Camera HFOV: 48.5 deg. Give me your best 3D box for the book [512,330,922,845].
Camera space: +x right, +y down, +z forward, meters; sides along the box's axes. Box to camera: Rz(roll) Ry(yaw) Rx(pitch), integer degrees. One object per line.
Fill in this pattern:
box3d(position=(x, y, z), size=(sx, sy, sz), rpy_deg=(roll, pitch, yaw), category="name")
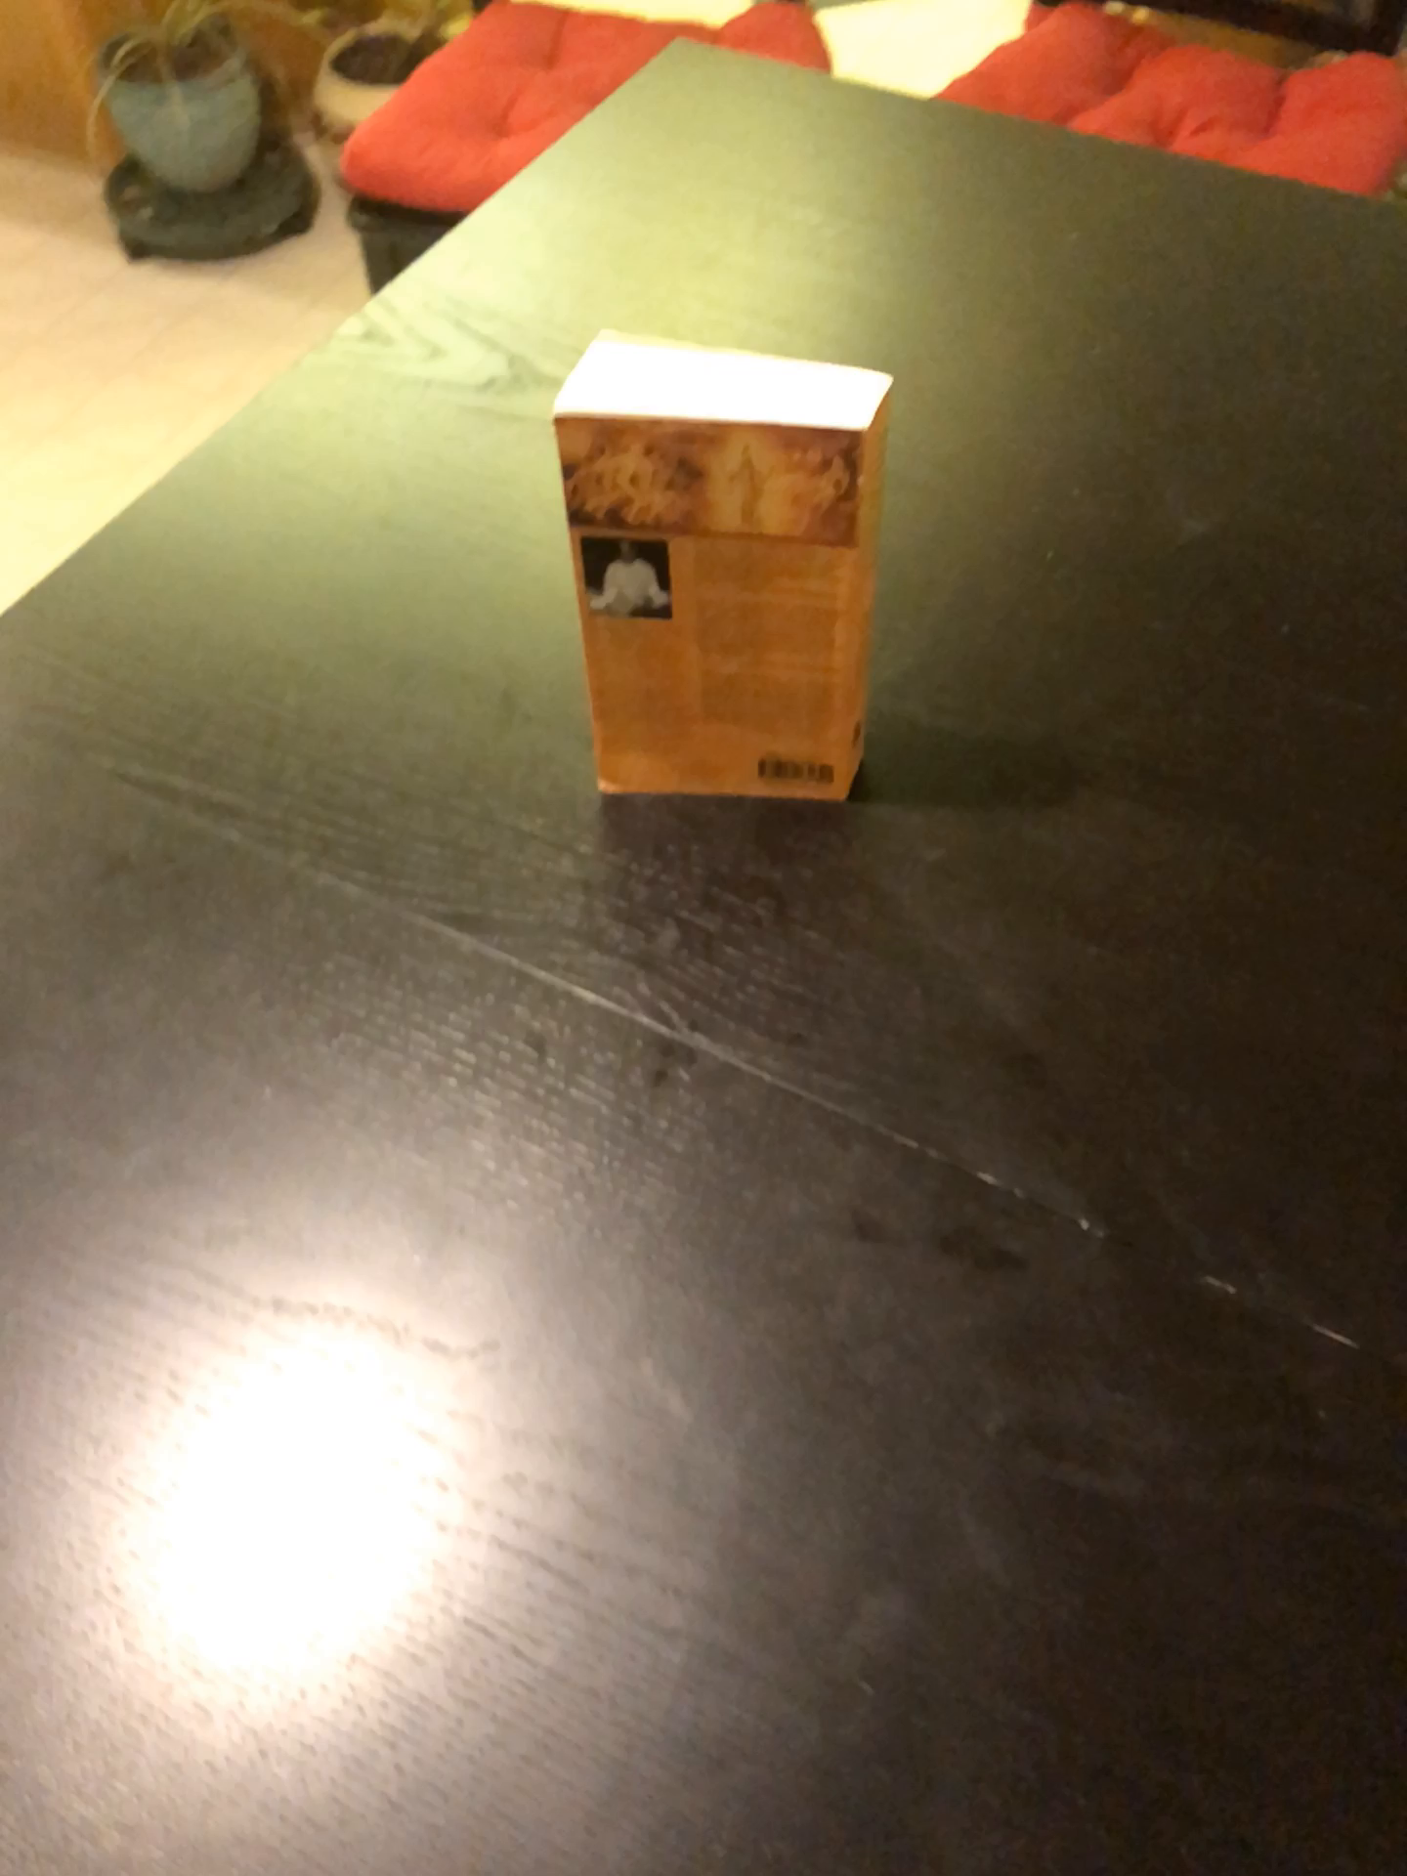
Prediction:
box3d(position=(0.008, -0.126, 0.590), size=(0.126, 0.174, 0.059), rpy_deg=(12, 53, 11), category="book")
